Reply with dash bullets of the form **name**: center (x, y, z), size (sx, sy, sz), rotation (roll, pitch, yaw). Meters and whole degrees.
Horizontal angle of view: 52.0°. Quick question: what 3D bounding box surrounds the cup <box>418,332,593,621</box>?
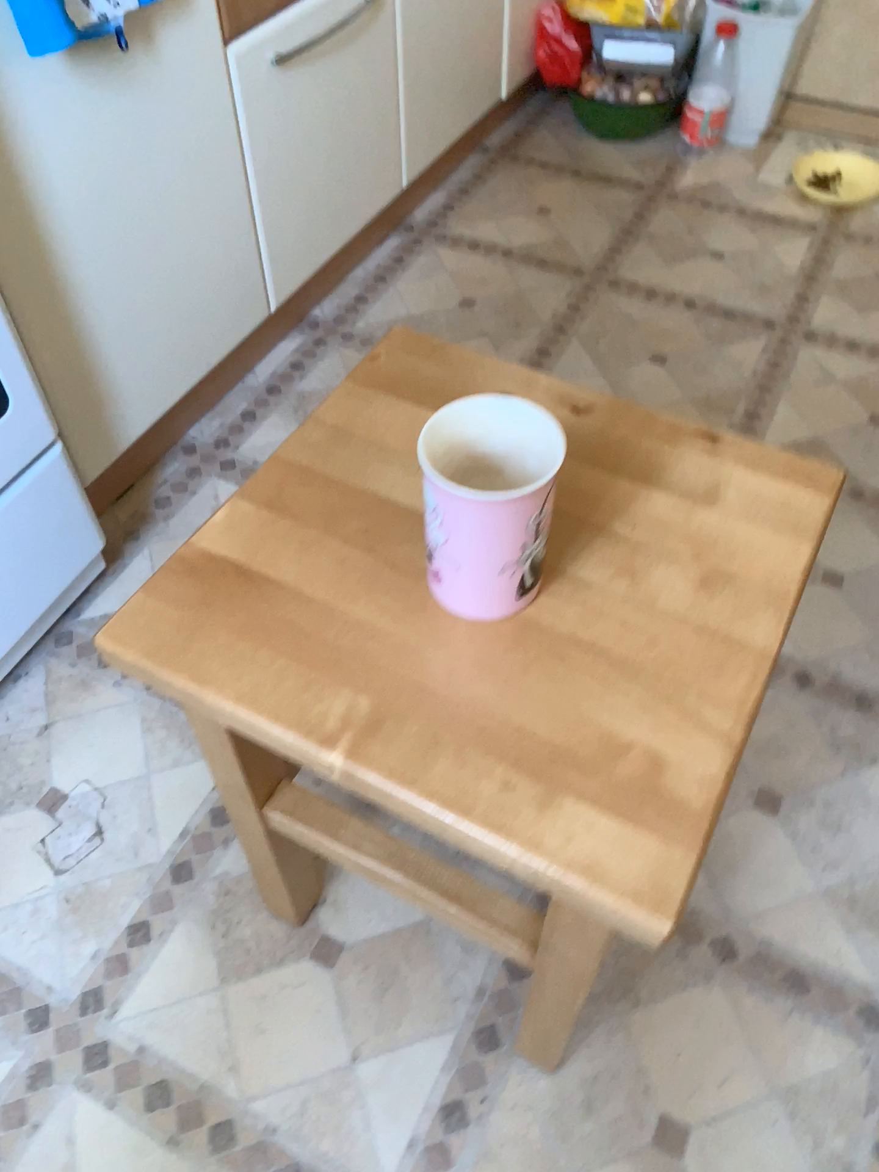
- **cup**: center (0.030, -0.060, 0.490), size (0.080, 0.099, 0.121), rotation (-1, 50, 0)
